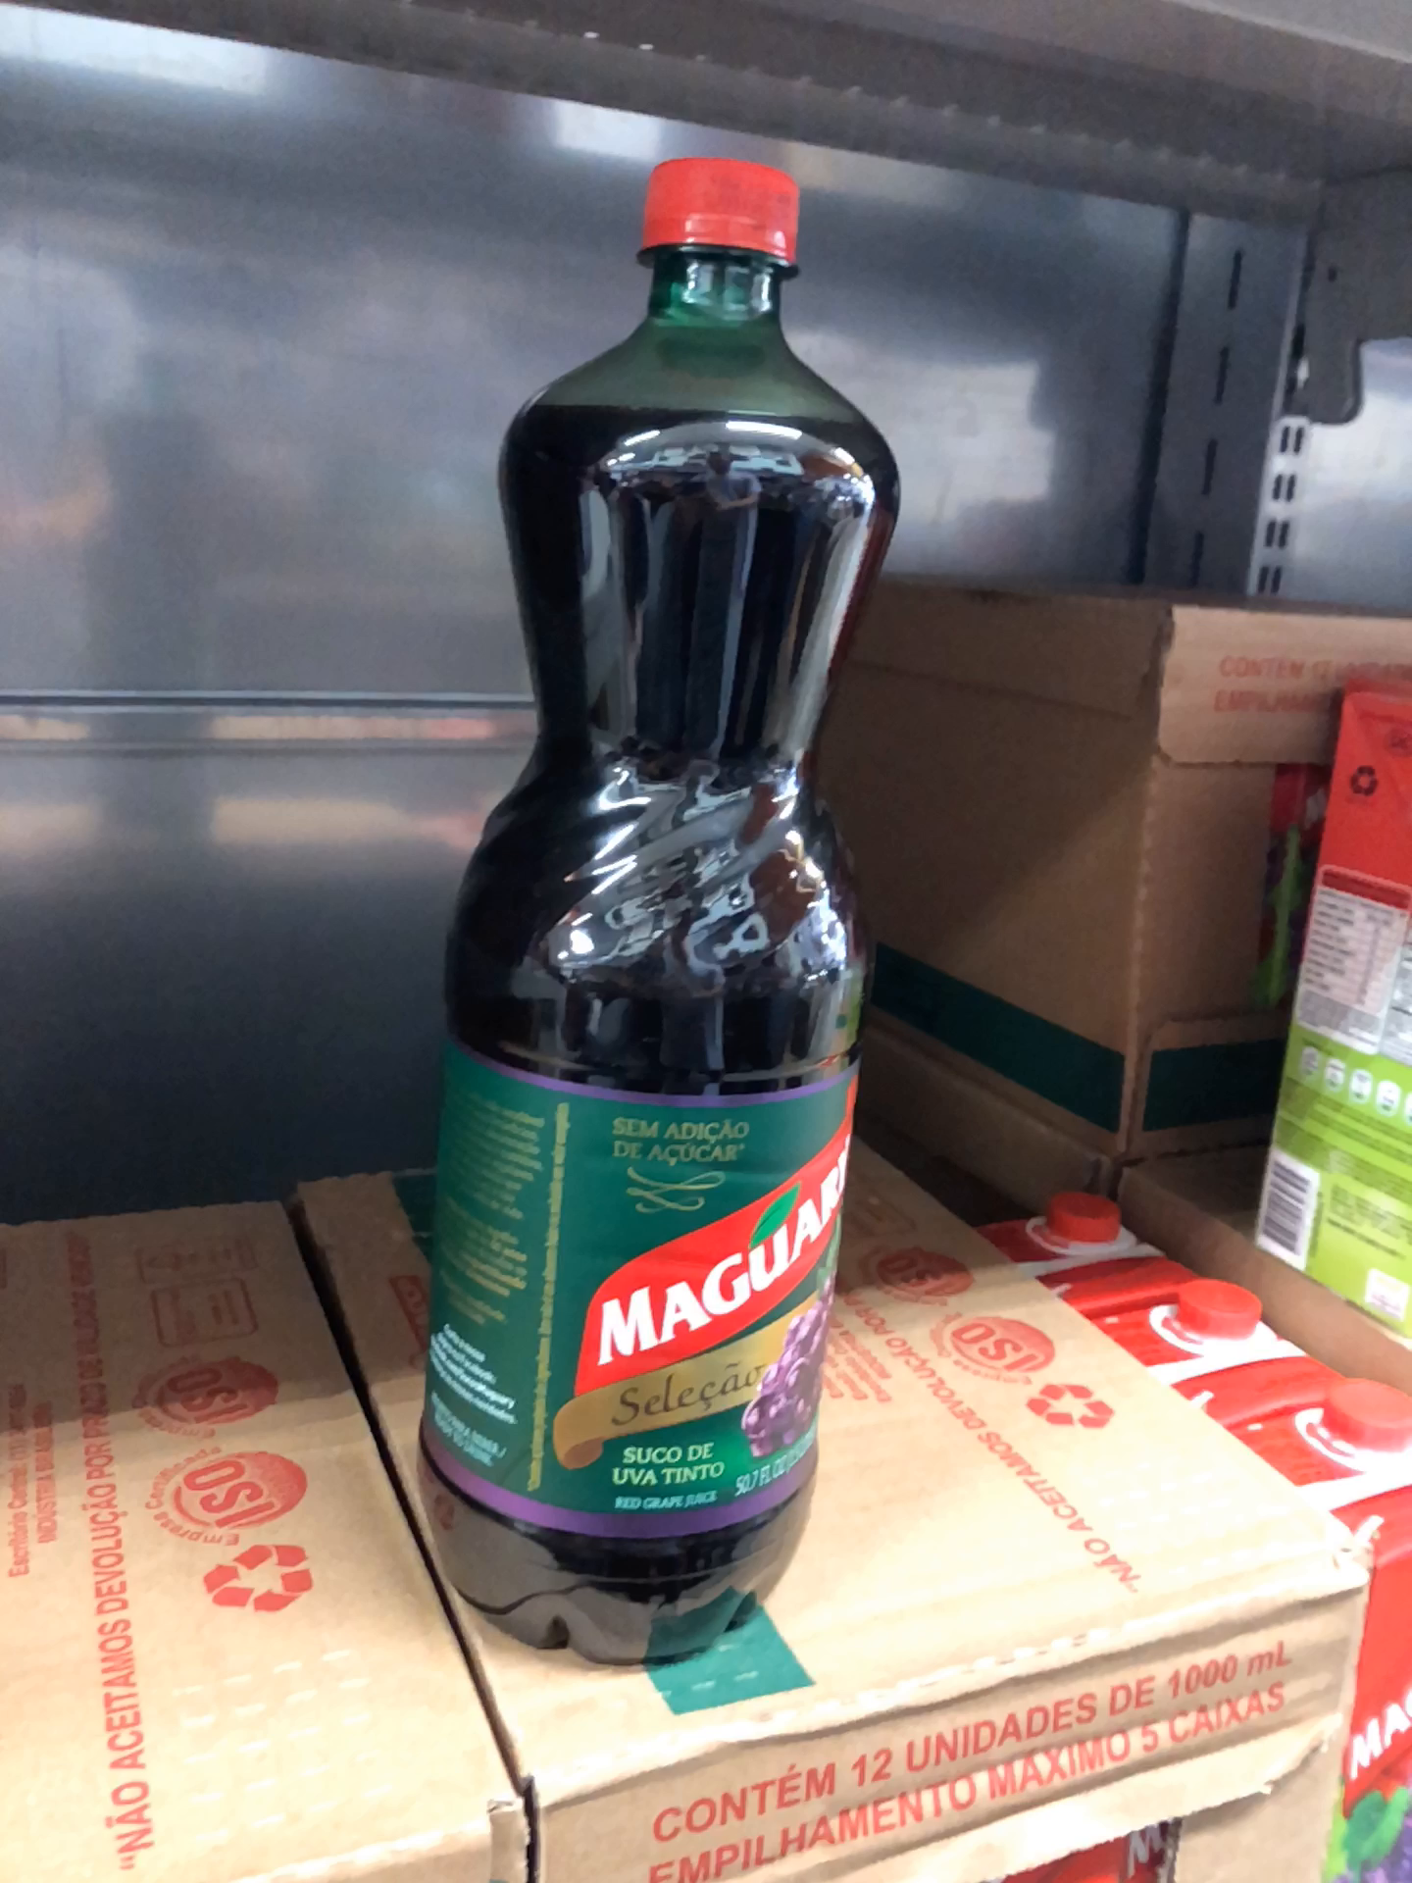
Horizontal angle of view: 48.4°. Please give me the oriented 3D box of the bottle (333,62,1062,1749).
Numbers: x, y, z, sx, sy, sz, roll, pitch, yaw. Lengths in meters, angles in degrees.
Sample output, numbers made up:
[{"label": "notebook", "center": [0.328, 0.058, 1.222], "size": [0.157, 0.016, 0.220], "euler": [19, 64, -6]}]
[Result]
[{"label": "bottle", "center": [-0.009, -0.003, 0.323], "size": [0.100, 0.289, 0.080], "euler": [-7, 18, -40]}]
